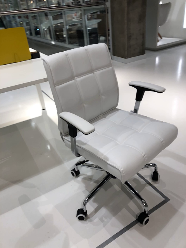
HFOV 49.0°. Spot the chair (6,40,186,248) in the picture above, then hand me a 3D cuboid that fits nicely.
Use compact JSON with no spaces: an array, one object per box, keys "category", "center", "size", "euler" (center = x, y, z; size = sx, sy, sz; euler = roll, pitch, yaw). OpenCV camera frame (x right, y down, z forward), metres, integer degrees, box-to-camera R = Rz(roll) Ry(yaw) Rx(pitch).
[{"category":"chair","center":[0.070,0.062,1.230],"size":[0.662,0.923,0.723],"euler":[-27,36,-32]}]
